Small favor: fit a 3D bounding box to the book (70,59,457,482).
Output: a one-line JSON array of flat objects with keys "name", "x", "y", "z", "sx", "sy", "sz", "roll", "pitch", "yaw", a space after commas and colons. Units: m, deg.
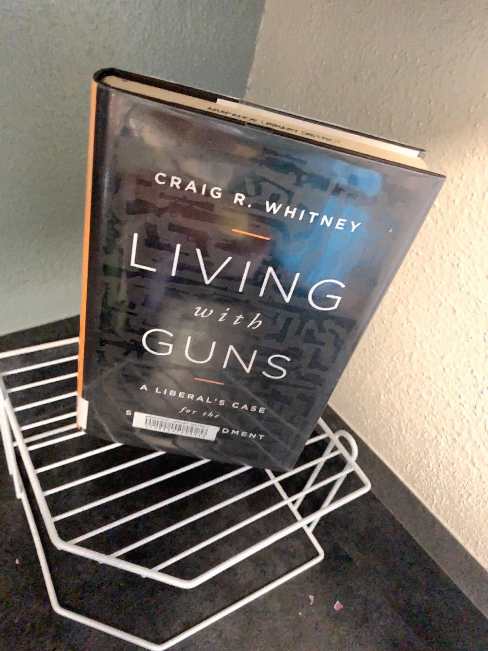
[{"name": "book", "x": -0.011, "y": -0.010, "z": 0.301, "sx": 0.171, "sy": 0.229, "sz": 0.040, "roll": 12, "pitch": 35, "yaw": -4}]
